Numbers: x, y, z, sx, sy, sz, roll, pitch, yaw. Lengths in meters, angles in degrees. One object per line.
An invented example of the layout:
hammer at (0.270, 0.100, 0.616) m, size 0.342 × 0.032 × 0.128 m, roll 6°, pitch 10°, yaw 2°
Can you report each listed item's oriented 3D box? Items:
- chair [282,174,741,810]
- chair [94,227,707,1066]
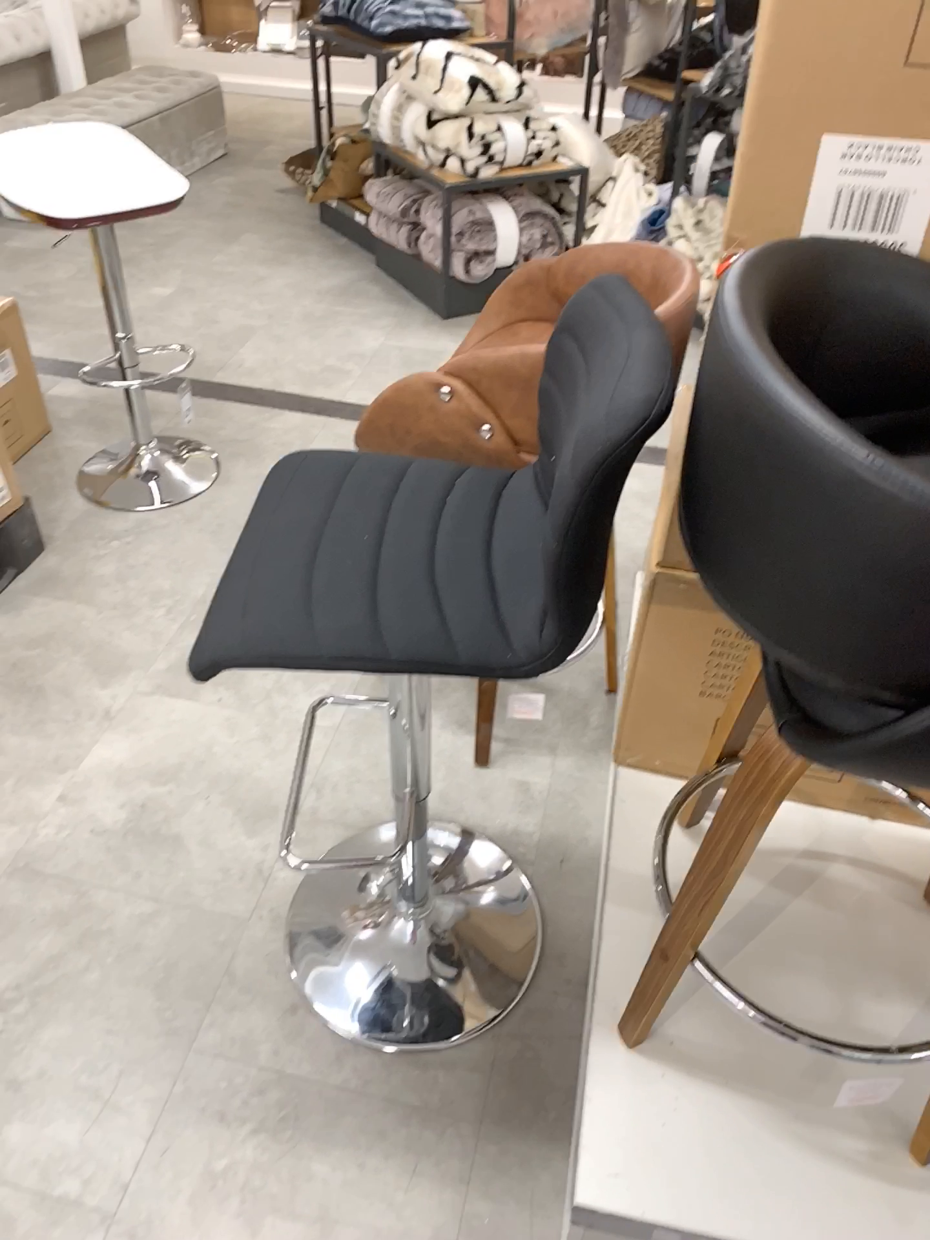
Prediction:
chair at (0.079, -0.224, 1.686) m, size 0.519 × 0.875 × 0.528 m, roll 18°, pitch 42°, yaw 18°
chair at (-0.059, 0.095, 1.213) m, size 0.468 × 0.994 × 0.458 m, roll 3°, pitch 40°, yaw 0°
